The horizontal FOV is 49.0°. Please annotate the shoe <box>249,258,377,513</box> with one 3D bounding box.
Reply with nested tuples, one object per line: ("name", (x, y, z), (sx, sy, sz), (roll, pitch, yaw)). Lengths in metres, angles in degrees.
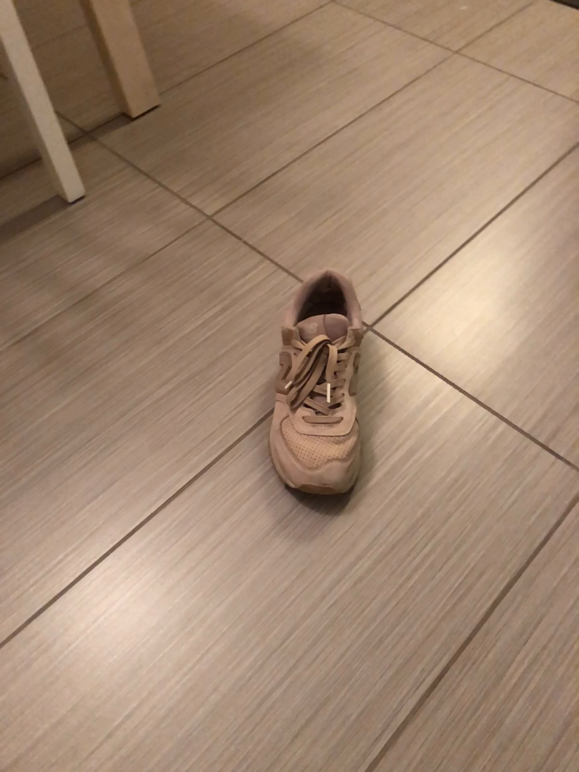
("shoe", (0.034, -0.010, 0.701), (0.100, 0.090, 0.271), (6, 55, 7))
